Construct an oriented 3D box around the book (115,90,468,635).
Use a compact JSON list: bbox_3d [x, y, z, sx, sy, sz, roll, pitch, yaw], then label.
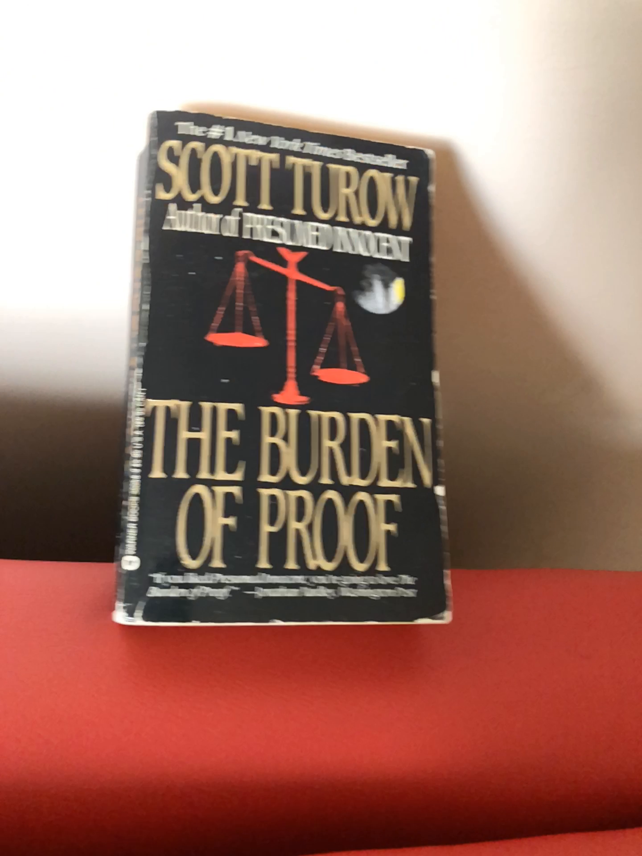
[{"bbox_3d":[-0.011,-0.019,0.251,0.106,0.045,0.171,4,76,-16],"label":"book"}]
